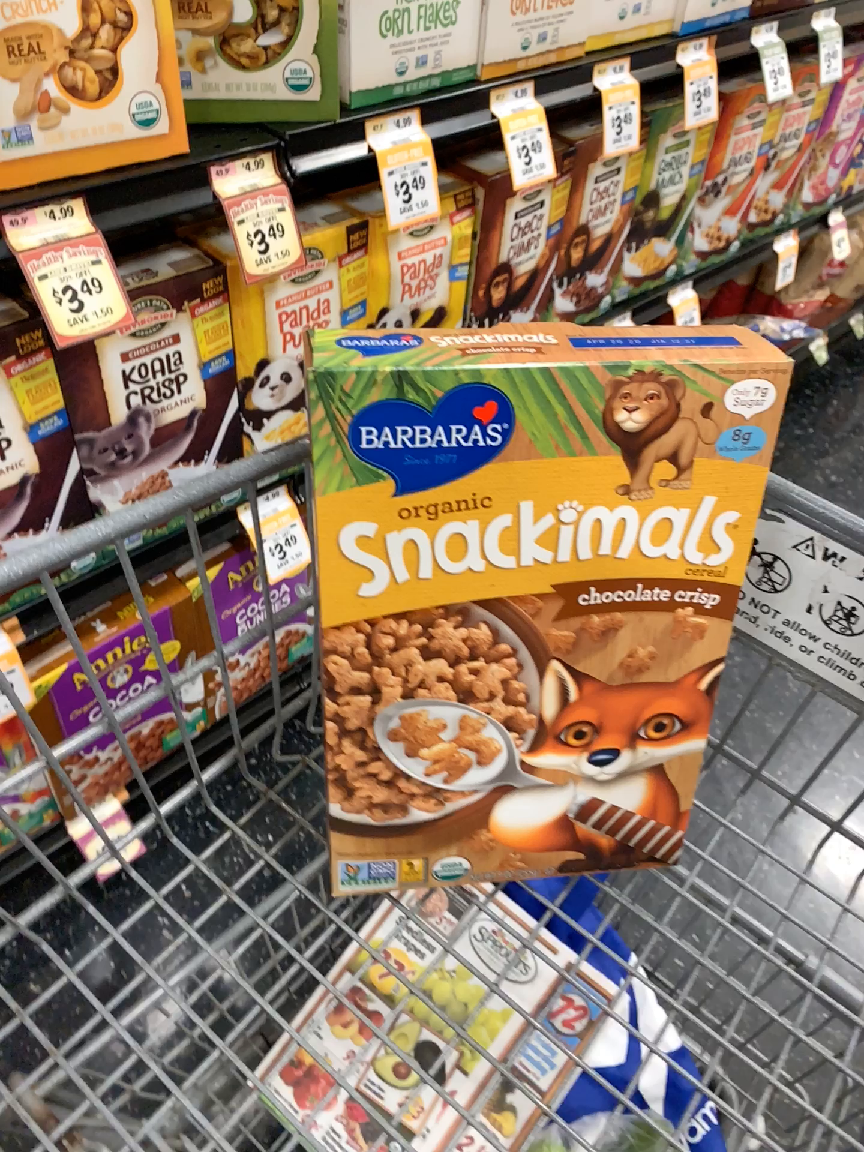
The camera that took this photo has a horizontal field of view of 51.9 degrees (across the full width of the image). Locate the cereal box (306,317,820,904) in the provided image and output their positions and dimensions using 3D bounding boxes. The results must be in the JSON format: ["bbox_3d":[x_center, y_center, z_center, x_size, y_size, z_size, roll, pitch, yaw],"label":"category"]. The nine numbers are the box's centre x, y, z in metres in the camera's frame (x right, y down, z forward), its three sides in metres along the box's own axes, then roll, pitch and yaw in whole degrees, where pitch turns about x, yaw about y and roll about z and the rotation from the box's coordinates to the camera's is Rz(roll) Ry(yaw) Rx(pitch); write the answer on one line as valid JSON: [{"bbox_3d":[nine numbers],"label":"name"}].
[{"bbox_3d":[0.040,0.027,0.394,0.180,0.269,0.050,-3,32,-9],"label":"cereal box"}]
